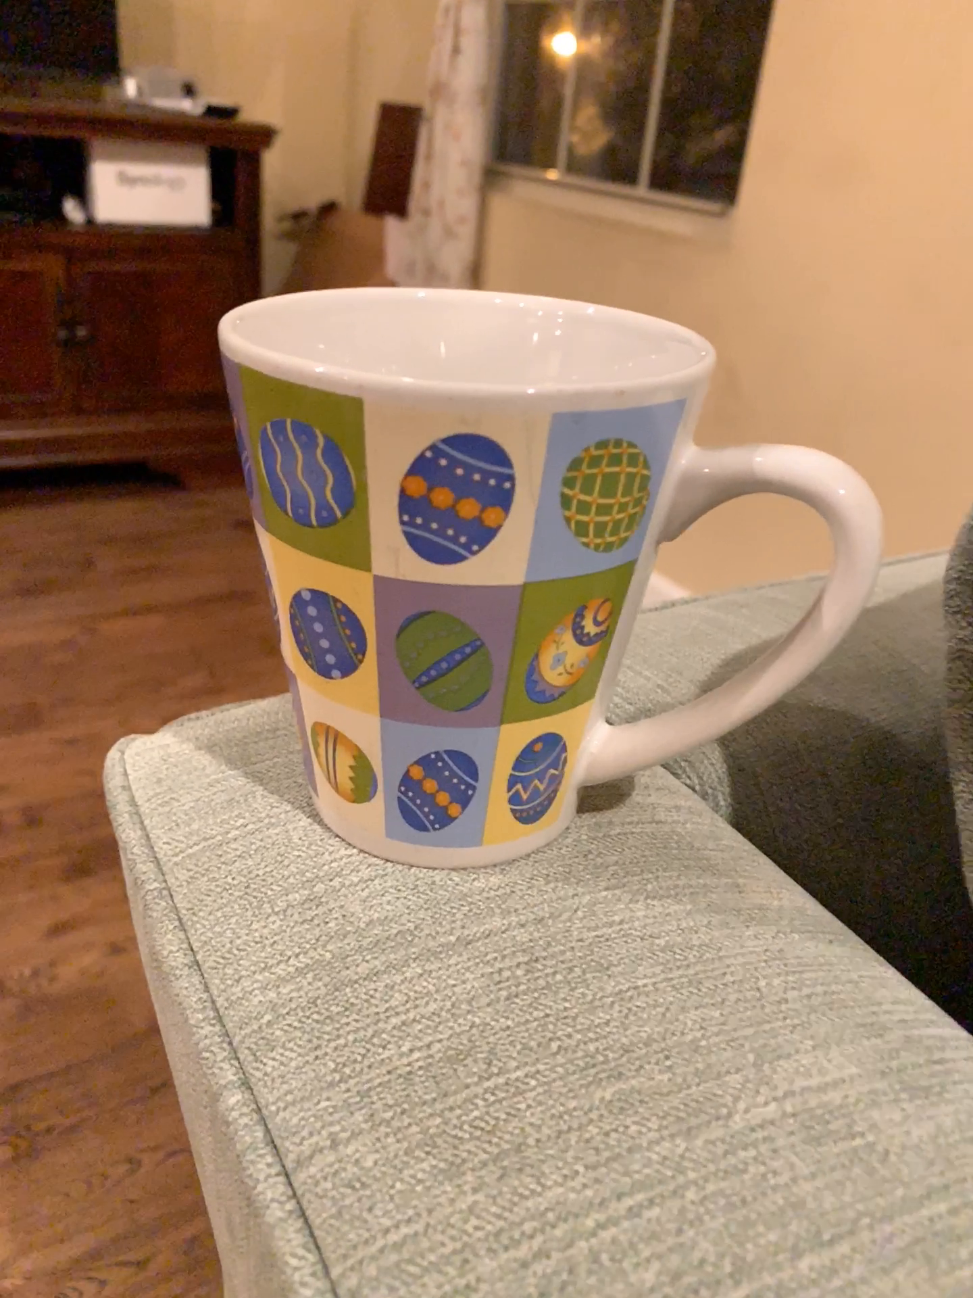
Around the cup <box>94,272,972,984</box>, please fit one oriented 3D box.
[{"bbox_3d":[0.011,-0.016,0.198,0.123,0.087,0.096,10,27,11],"label":"cup"}]
